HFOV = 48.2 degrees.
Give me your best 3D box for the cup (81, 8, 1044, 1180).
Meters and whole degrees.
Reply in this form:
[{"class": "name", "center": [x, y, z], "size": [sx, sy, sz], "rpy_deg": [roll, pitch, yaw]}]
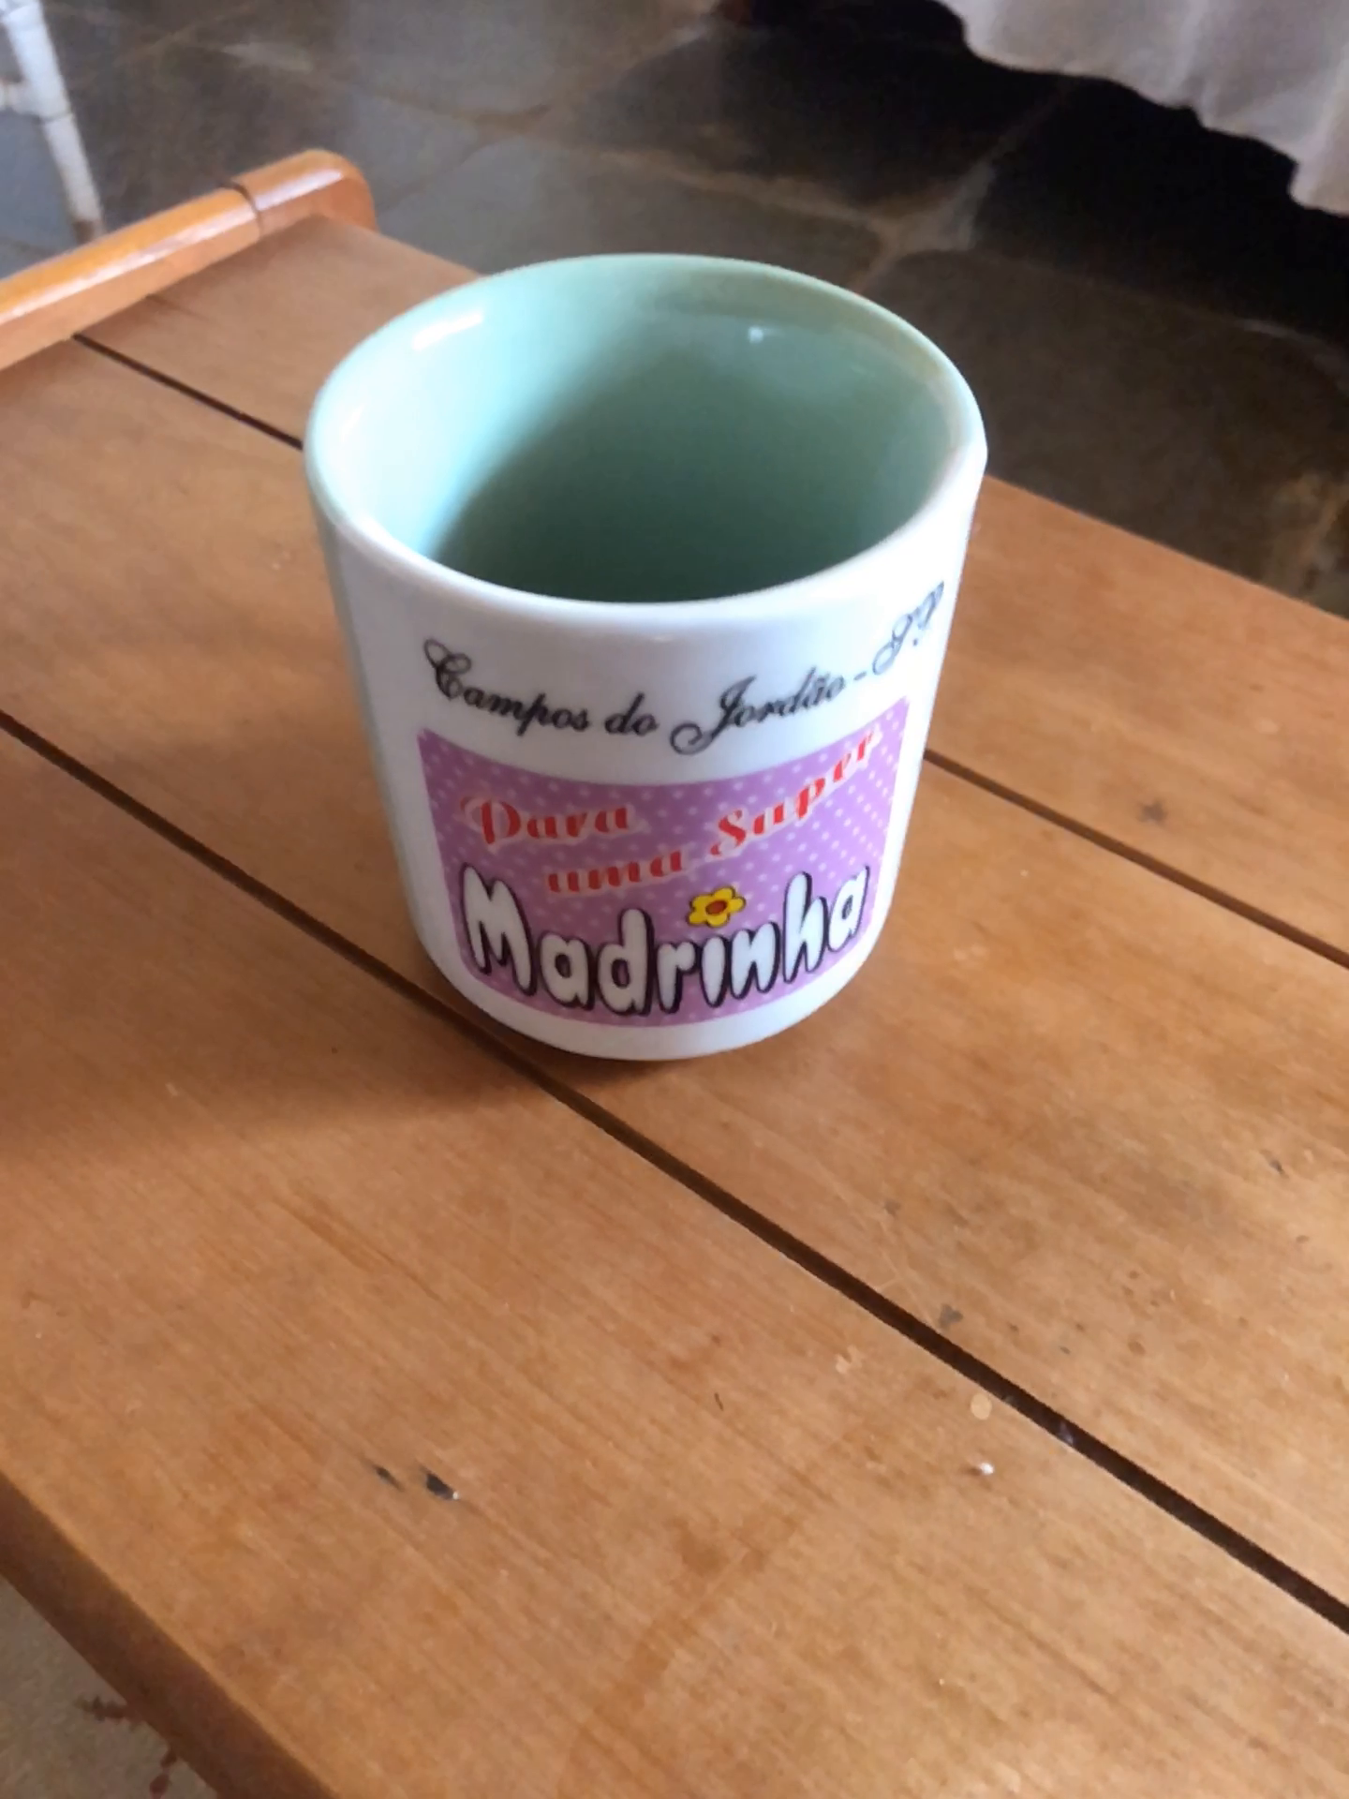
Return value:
[{"class": "cup", "center": [-0.007, -0.045, 0.202], "size": [0.080, 0.089, 0.131], "rpy_deg": [2, 49, 1]}]
